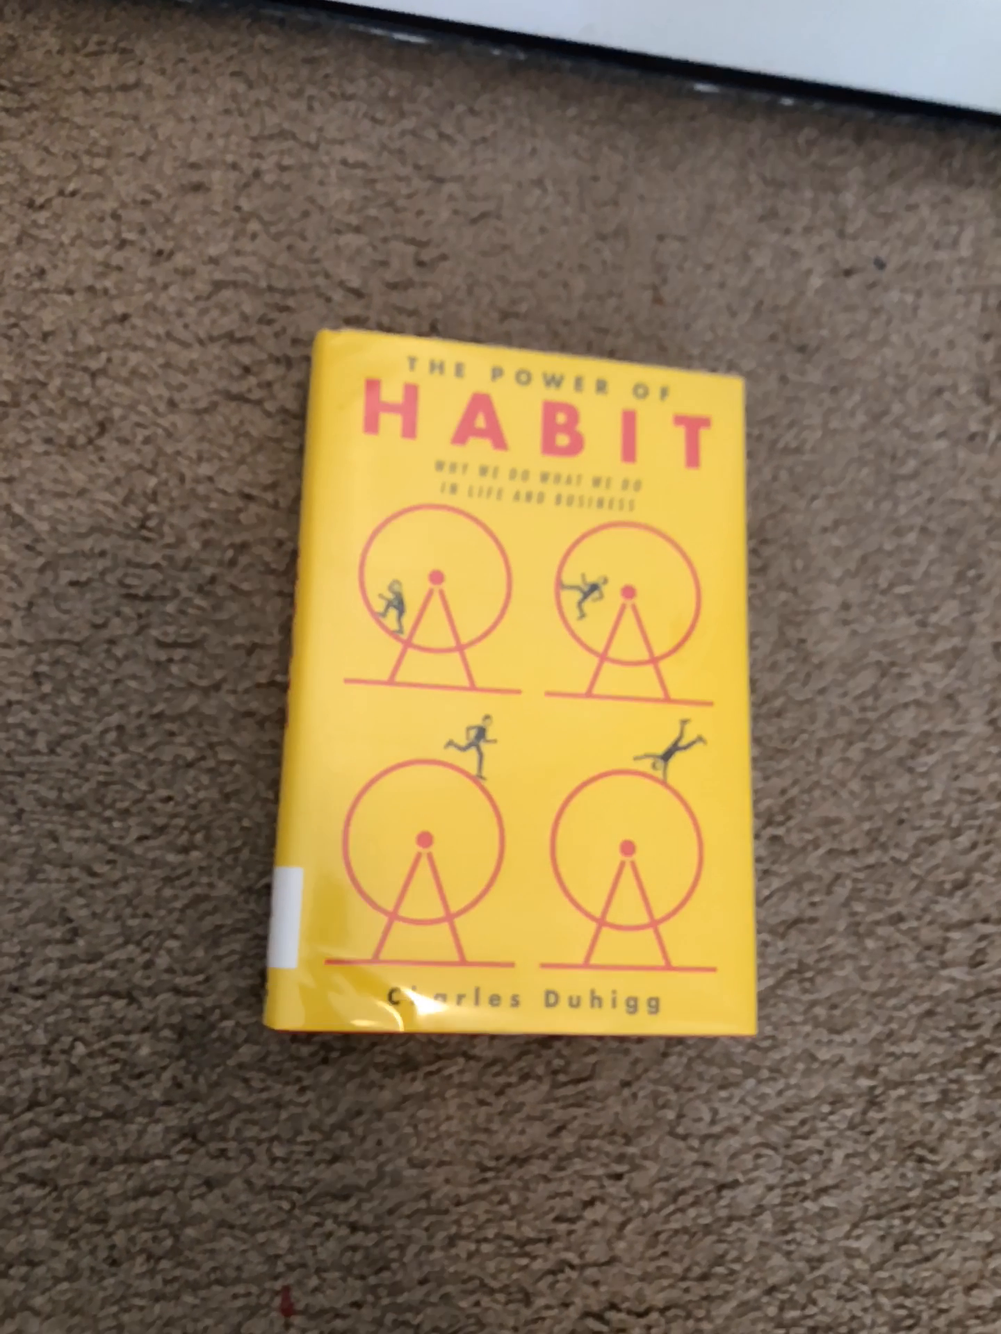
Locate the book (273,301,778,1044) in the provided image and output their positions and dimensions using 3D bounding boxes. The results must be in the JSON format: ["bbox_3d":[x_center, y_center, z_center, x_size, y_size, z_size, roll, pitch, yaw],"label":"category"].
[{"bbox_3d":[0.012,0.001,0.404,0.164,0.040,0.251,4,77,-9],"label":"book"}]
